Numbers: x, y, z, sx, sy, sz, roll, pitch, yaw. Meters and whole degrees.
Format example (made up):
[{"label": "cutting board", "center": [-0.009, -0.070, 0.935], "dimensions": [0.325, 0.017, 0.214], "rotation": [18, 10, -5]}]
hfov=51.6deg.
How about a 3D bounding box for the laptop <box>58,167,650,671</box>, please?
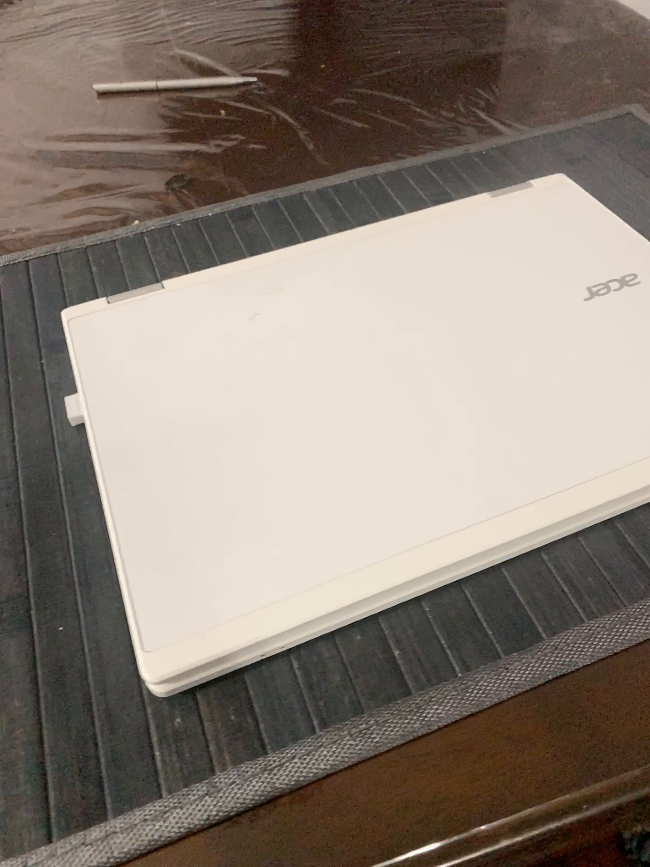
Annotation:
[{"label": "laptop", "center": [0.035, -0.038, 0.296], "dimensions": [0.279, 0.002, 0.195], "rotation": [-19, 52, -10]}]
